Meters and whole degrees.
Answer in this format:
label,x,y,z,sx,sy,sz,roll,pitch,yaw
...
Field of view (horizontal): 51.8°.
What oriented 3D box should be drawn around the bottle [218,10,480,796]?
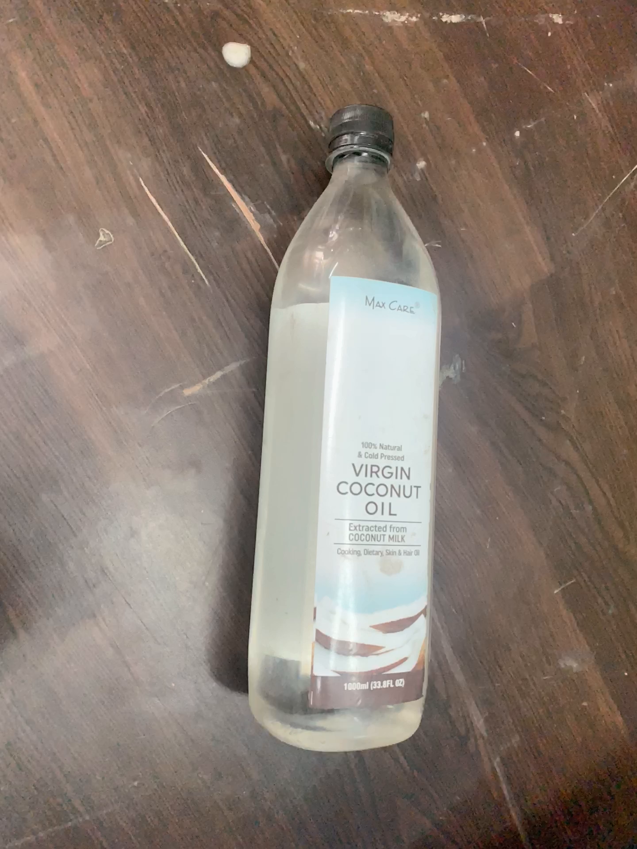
label,x,y,z,sx,sy,sz,roll,pitch,yaw
bottle,0.012,-0.010,0.288,0.080,0.070,0.290,5,85,-23
